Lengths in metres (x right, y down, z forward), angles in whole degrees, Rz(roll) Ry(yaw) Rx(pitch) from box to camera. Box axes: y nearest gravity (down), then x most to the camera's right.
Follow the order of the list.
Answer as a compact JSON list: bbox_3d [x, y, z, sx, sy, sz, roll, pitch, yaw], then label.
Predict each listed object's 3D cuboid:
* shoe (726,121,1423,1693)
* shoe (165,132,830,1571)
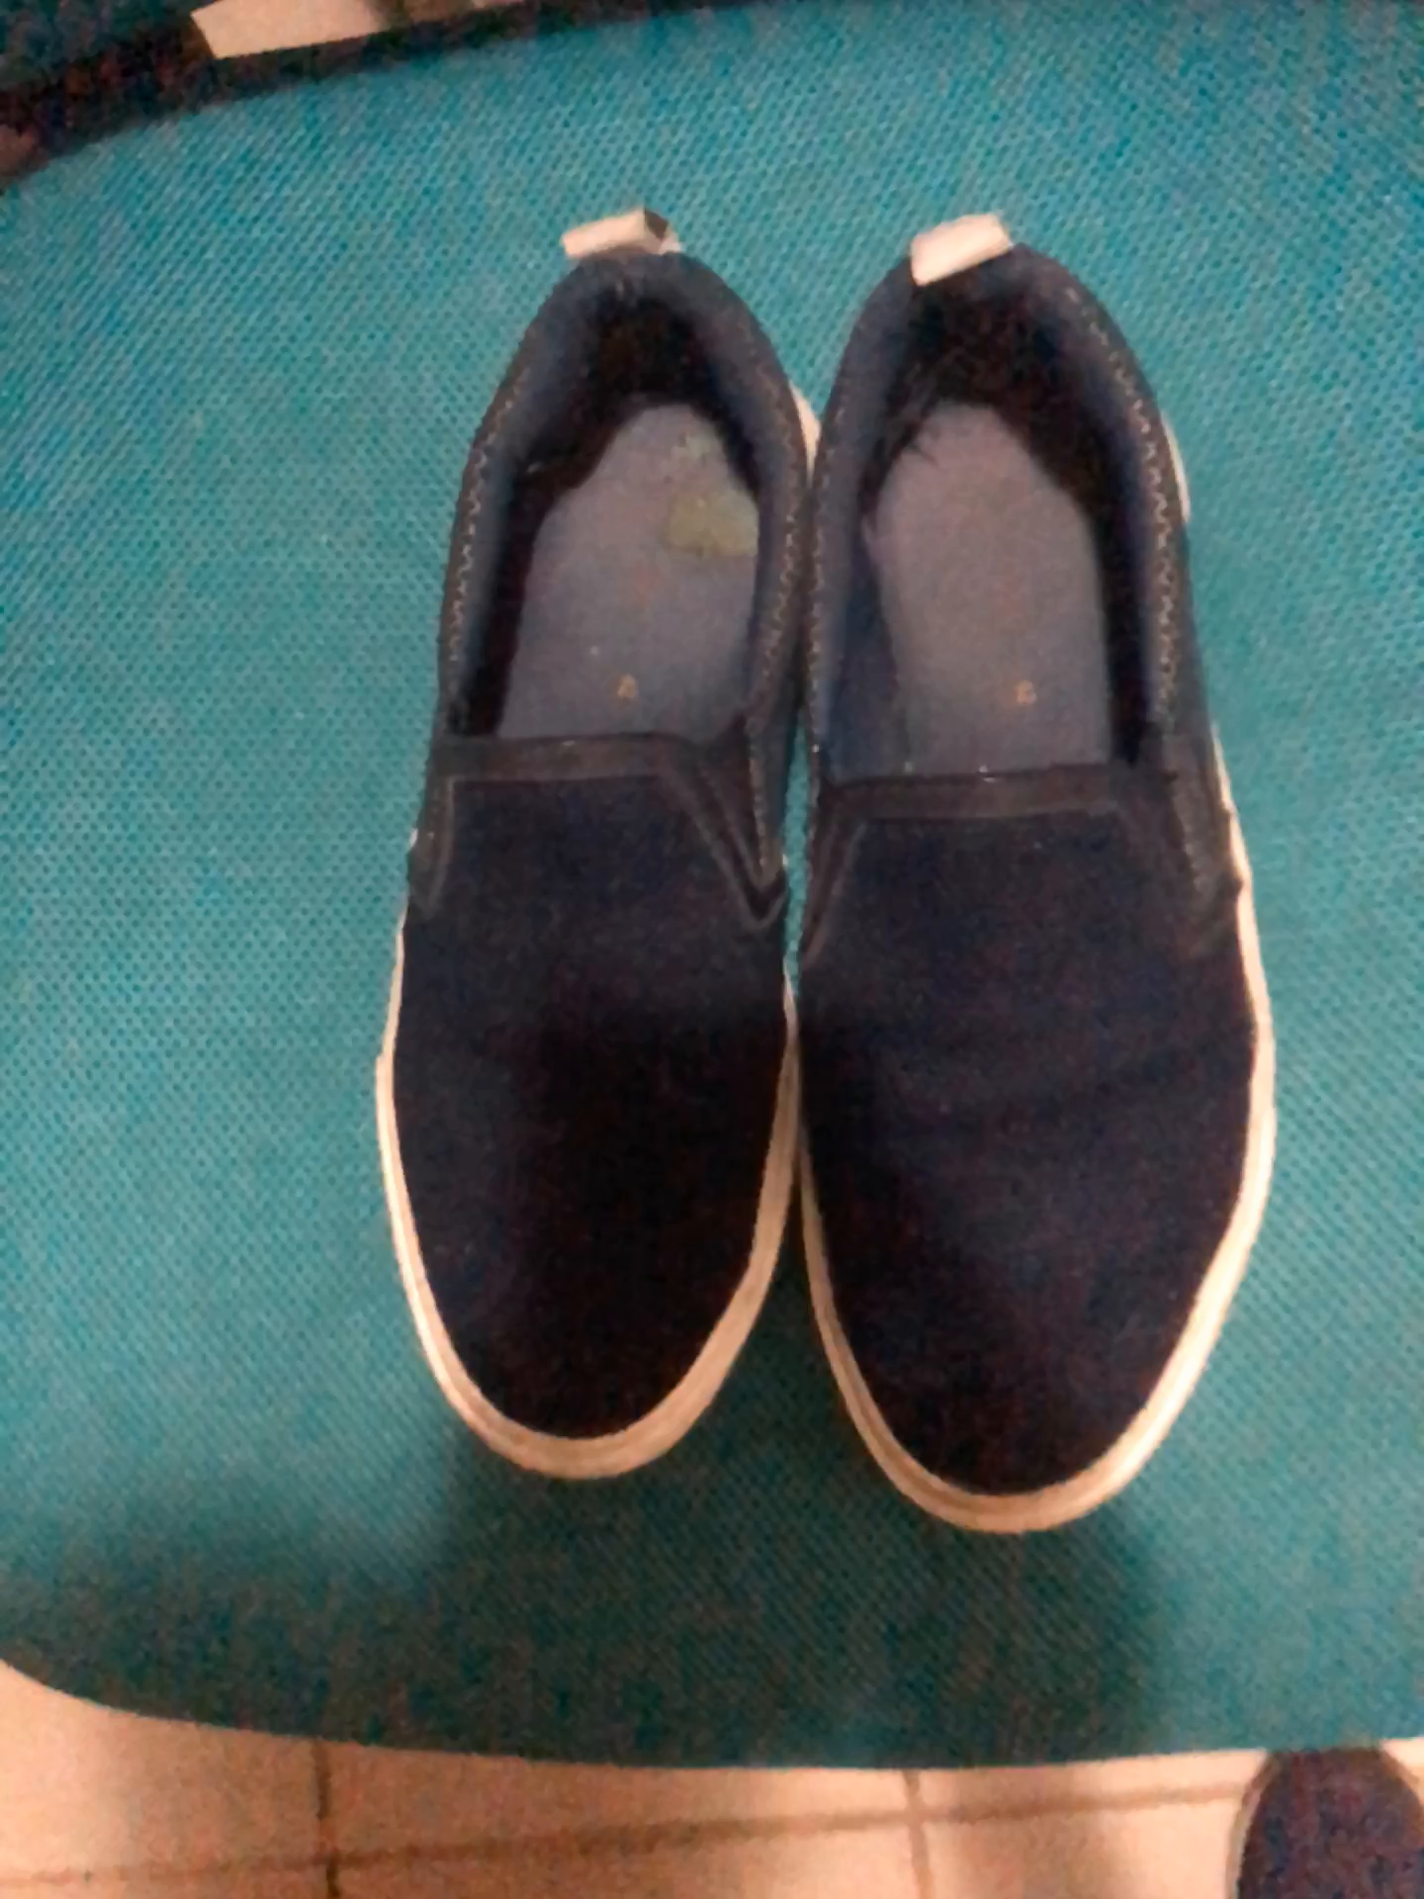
[{"bbox_3d":[0.074,-0.008,0.353,0.120,0.110,0.290,-2,84,9],"label":"shoe"},{"bbox_3d":[-0.039,-0.021,0.379,0.120,0.110,0.290,1,85,9],"label":"shoe"}]
